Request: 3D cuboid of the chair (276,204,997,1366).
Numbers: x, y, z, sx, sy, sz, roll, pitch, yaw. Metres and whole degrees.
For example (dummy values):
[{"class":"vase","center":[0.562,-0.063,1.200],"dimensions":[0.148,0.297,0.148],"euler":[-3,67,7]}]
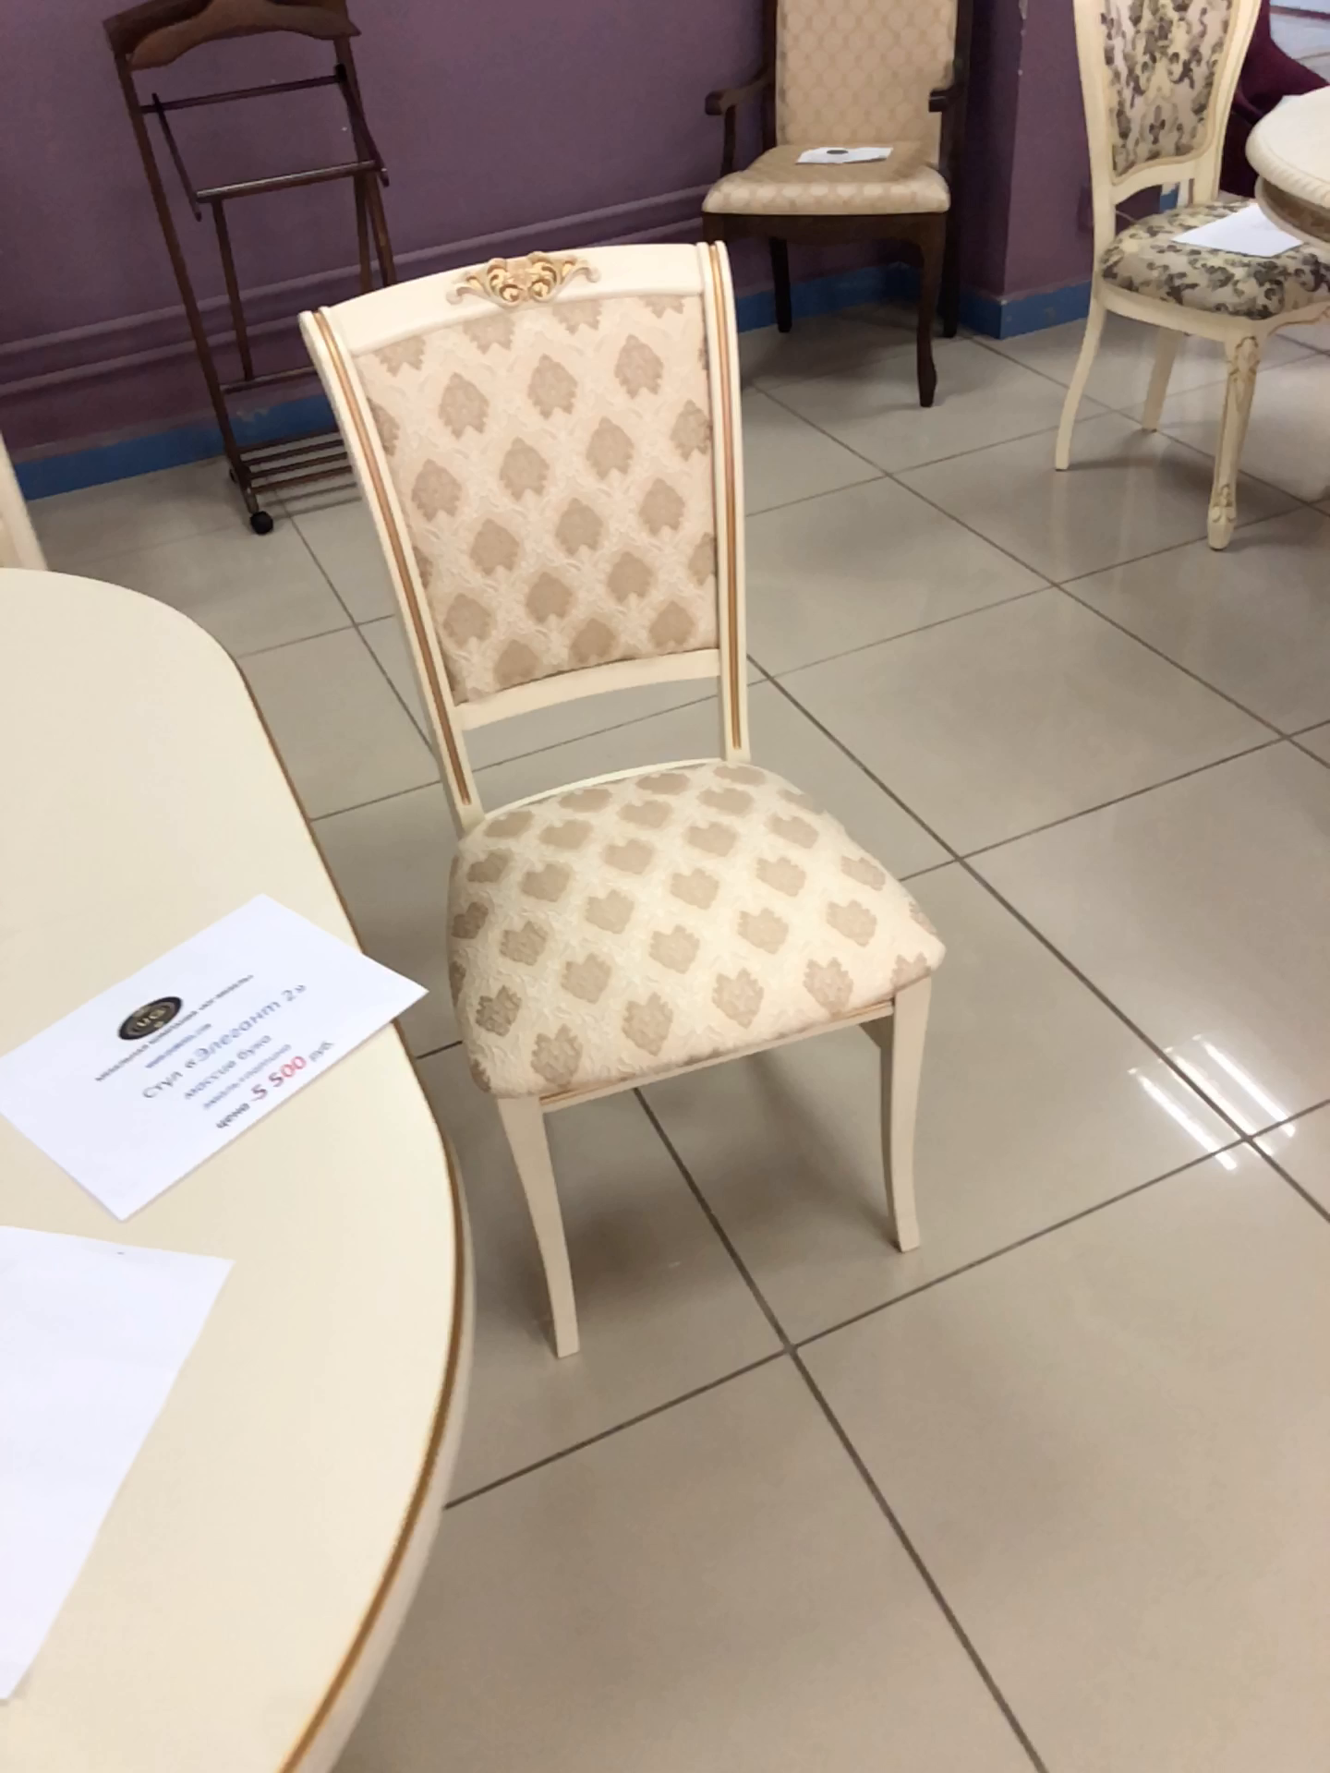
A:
[{"class":"chair","center":[-0.019,-0.071,1.432],"dimensions":[0.448,0.944,0.483],"euler":[-14,39,-10]}]
